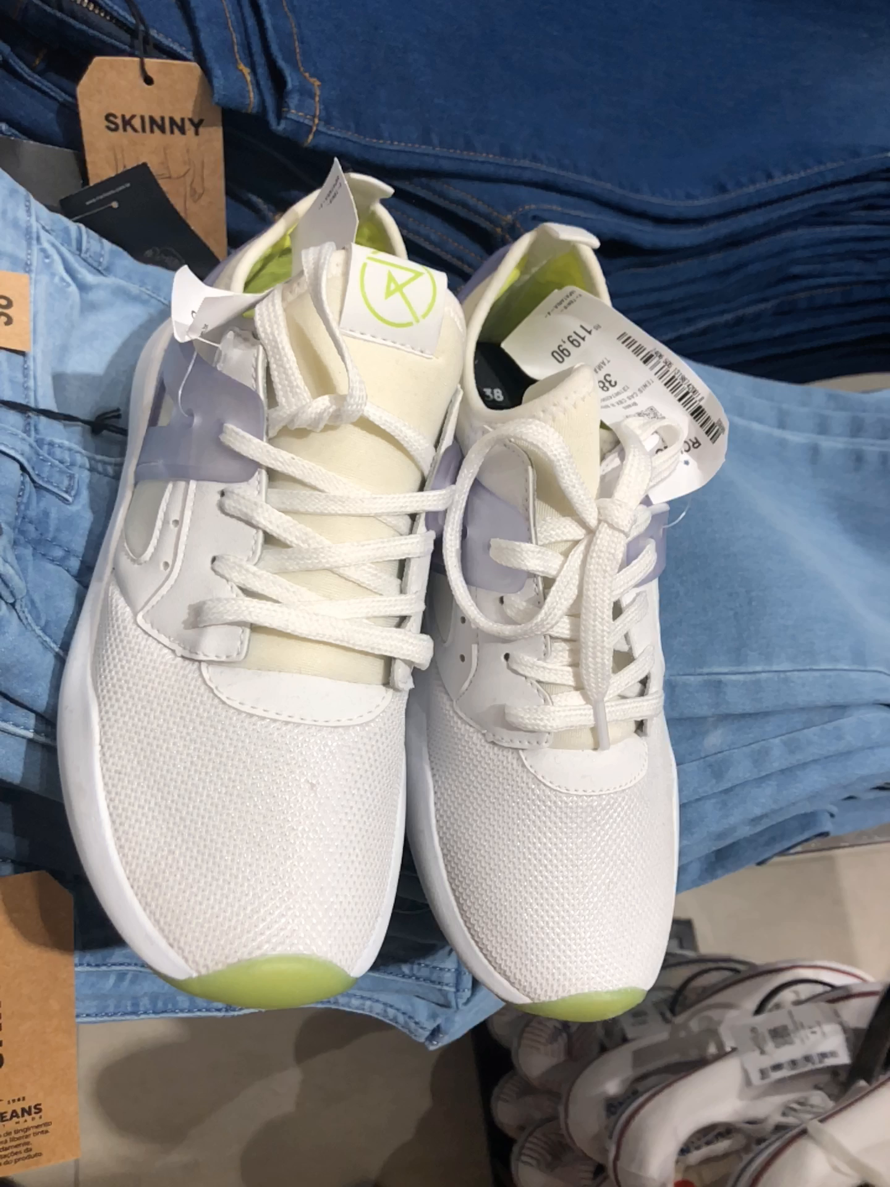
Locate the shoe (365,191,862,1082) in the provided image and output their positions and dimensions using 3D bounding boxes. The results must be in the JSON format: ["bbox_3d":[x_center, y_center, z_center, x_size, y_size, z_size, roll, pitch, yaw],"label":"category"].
[{"bbox_3d":[0.039,0.008,0.323,0.100,0.090,0.250,-1,72,-15],"label":"shoe"}]

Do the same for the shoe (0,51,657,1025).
[{"bbox_3d":[-0.047,-0.026,0.297,0.110,0.120,0.261,11,48,-23],"label":"shoe"}]
